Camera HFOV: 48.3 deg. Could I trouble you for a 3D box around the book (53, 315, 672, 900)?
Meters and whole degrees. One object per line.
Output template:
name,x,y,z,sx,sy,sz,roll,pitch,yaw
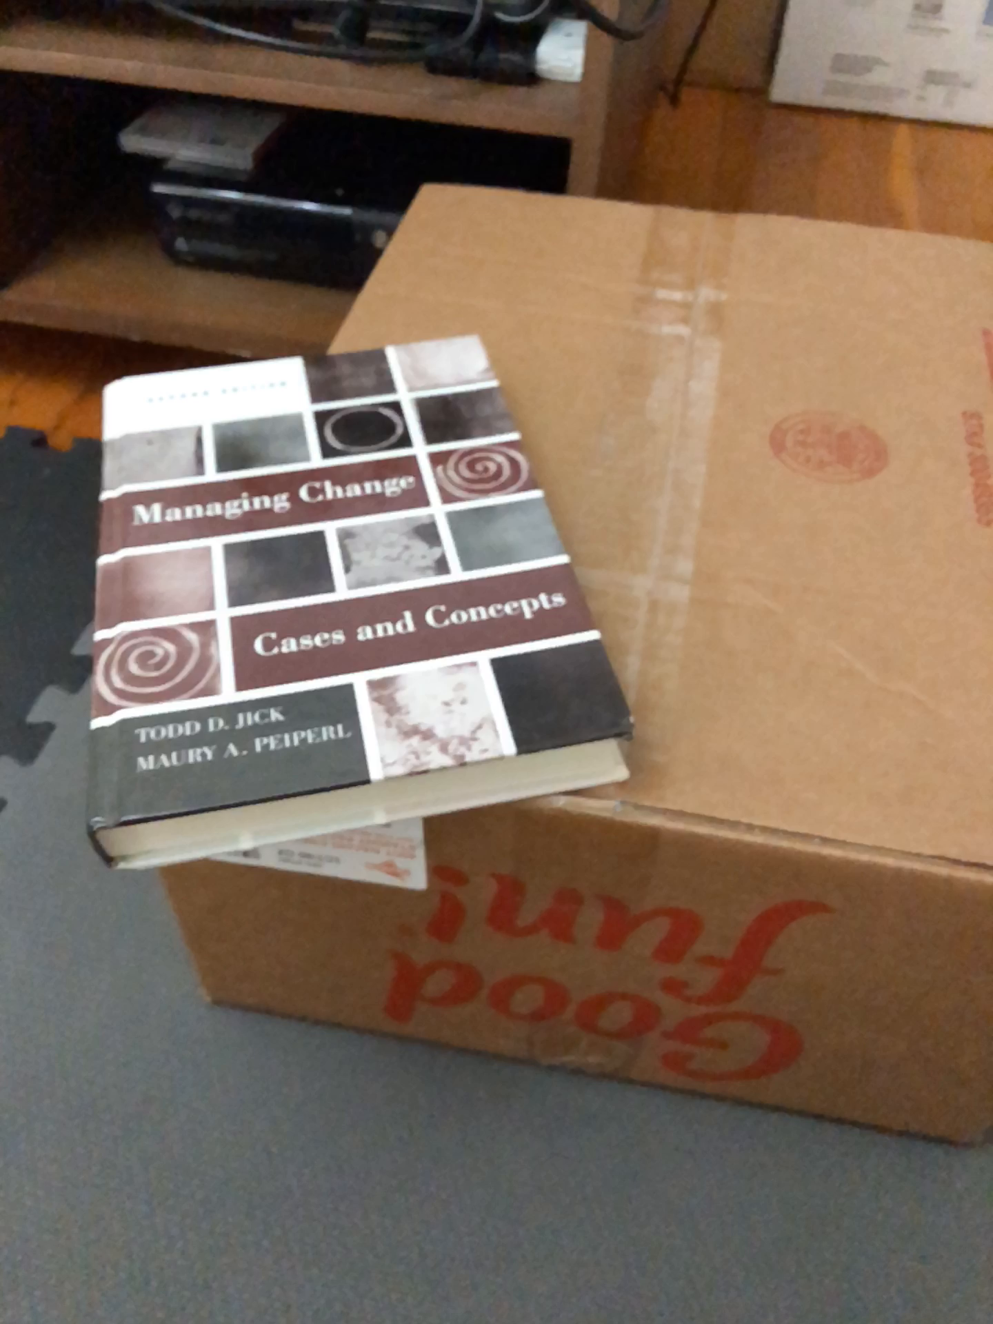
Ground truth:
book,-0.063,-0.044,0.415,0.180,0.030,0.251,-9,48,-10
